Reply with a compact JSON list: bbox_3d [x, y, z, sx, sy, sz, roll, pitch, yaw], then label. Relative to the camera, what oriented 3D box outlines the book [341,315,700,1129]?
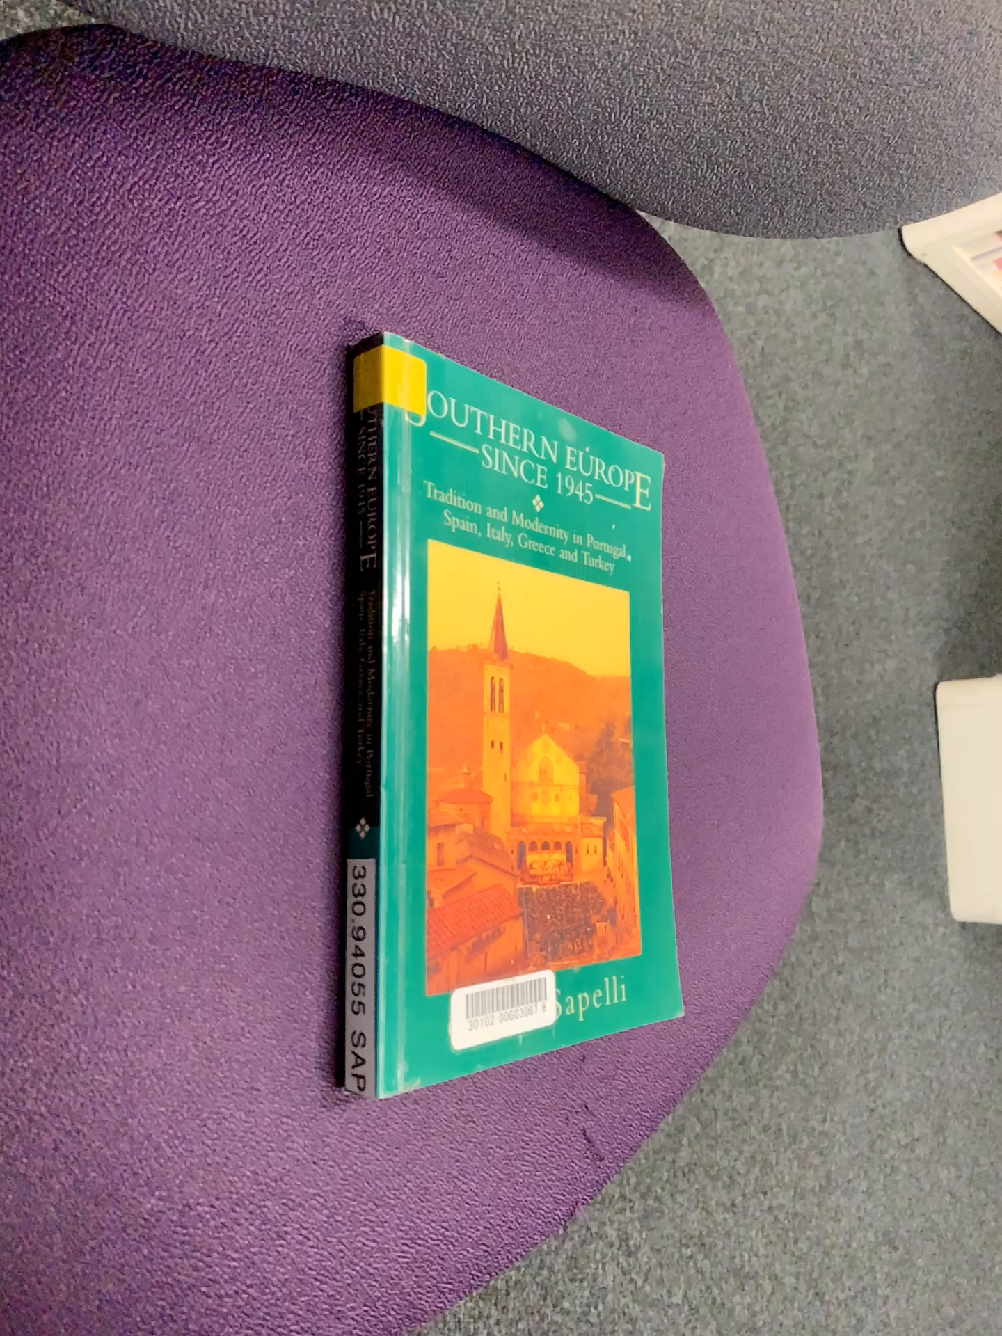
[{"bbox_3d":[0.014,0.016,0.342,0.154,0.020,0.221,7,79,-48],"label":"book"}]
